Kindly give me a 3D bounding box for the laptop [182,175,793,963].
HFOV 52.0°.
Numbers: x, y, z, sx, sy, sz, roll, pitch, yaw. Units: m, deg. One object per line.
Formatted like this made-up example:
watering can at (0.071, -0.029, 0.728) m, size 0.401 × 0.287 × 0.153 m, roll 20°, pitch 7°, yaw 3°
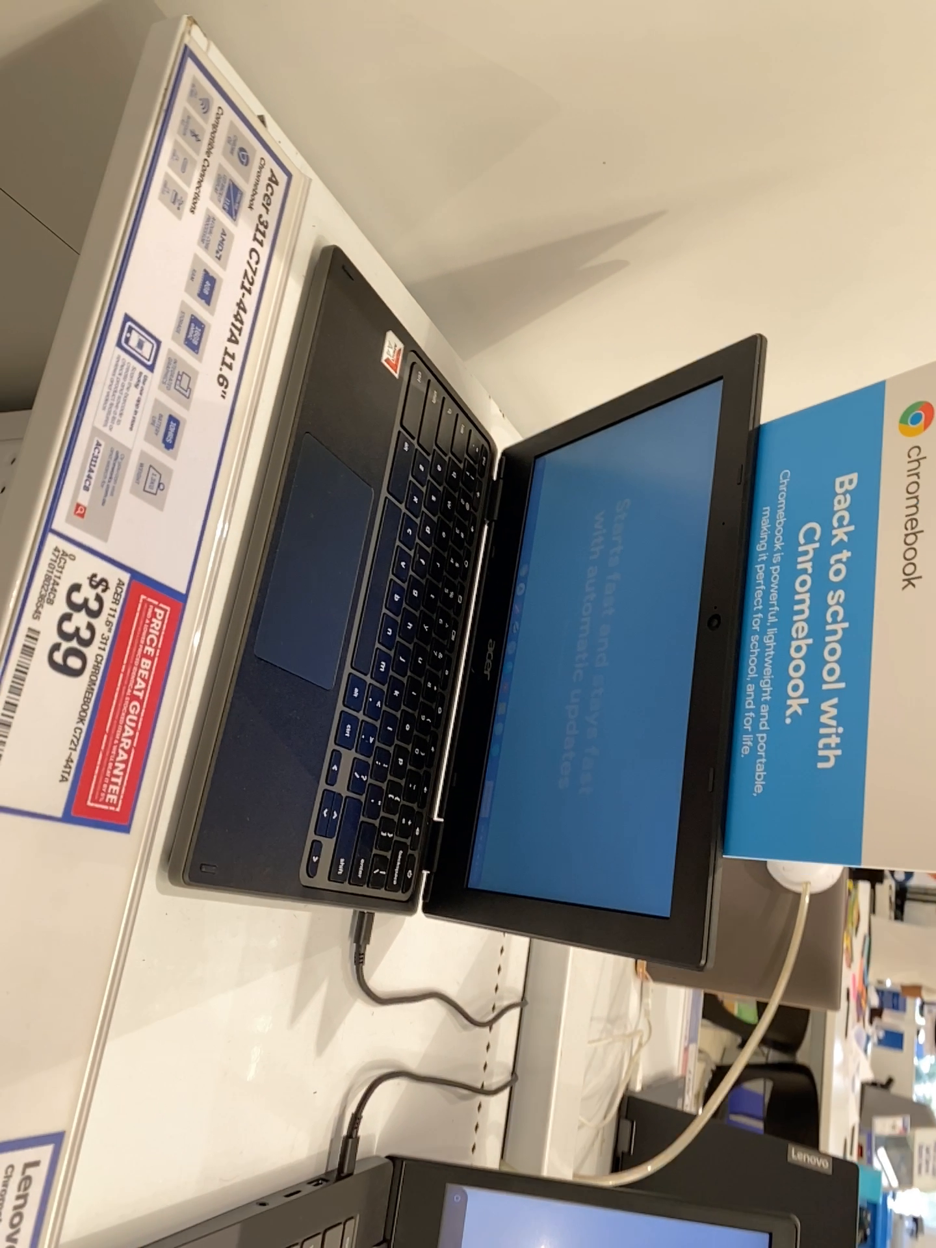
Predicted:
laptop at (0.037, -0.007, 0.455) m, size 0.202 × 0.181 × 0.289 m, roll 37°, pitch 58°, yaw -59°
